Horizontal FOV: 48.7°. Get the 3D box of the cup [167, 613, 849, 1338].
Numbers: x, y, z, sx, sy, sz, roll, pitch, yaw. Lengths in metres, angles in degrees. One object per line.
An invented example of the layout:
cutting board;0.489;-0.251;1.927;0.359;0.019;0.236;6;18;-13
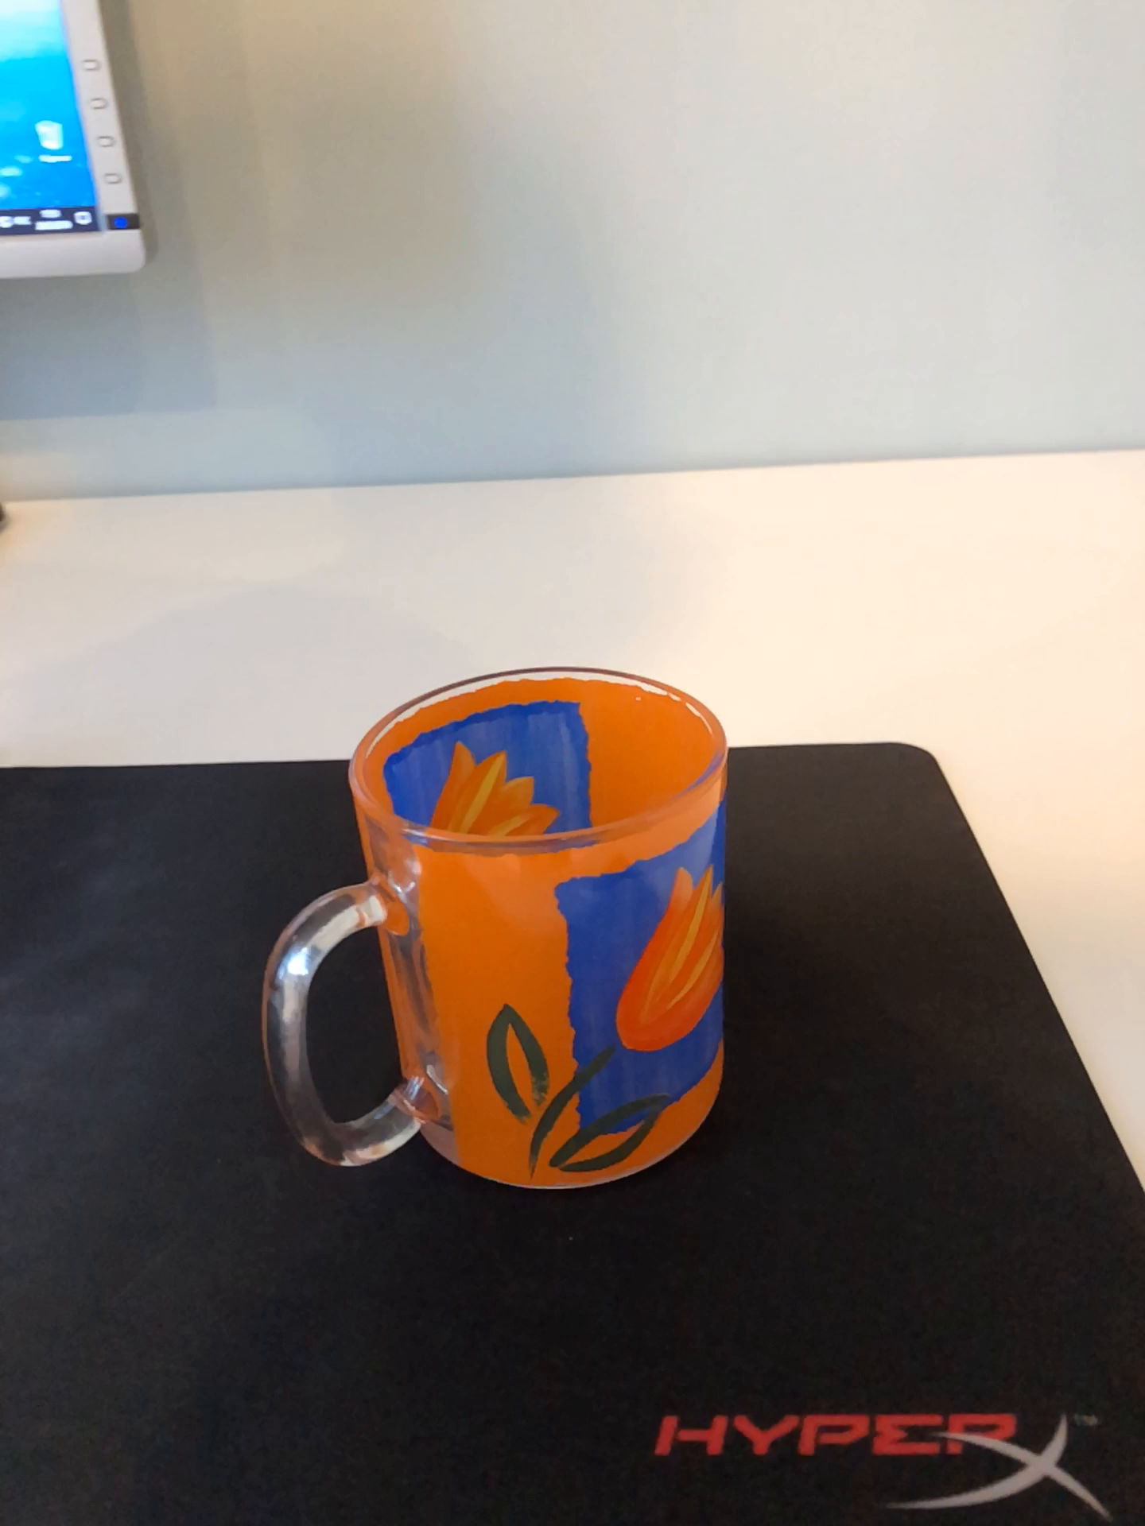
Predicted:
cup;-0.009;0.035;0.272;0.114;0.089;0.075;-25;36;-34
